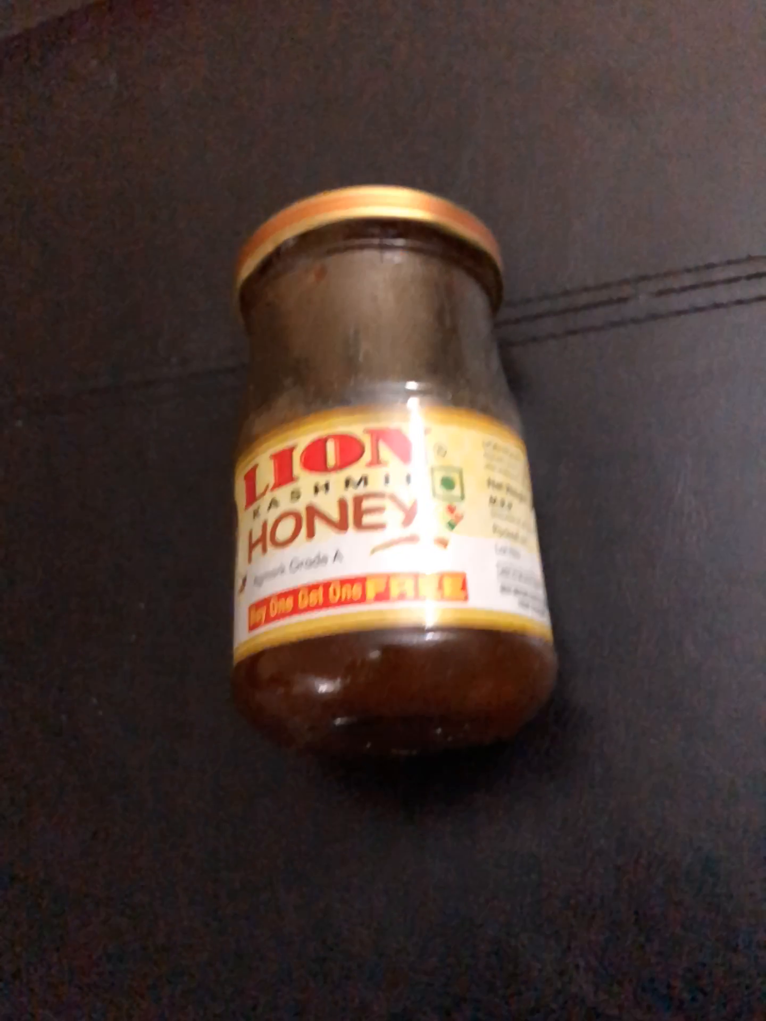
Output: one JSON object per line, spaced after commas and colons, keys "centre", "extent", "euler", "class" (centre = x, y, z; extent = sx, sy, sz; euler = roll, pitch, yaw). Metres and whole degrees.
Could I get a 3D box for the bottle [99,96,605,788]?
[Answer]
{"centre": [-0.003, -0.006, 0.178], "extent": [0.069, 0.070, 0.110], "euler": [-12, 66, 19], "class": "bottle"}
